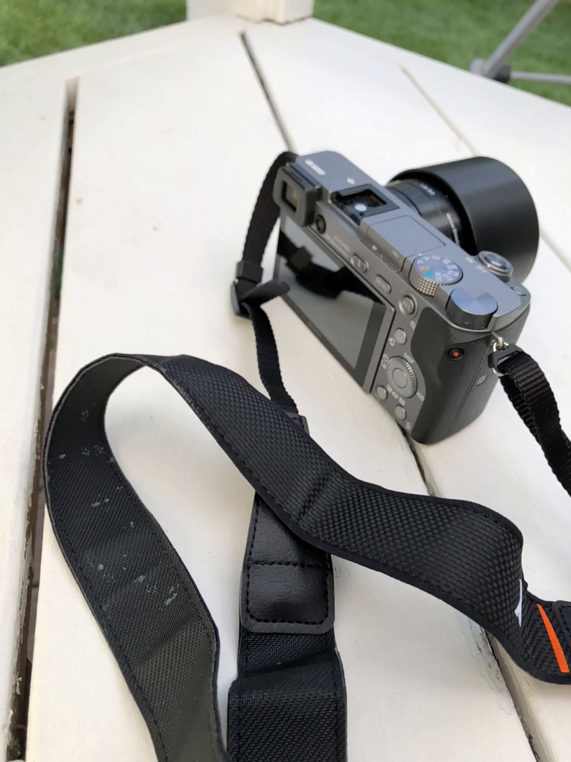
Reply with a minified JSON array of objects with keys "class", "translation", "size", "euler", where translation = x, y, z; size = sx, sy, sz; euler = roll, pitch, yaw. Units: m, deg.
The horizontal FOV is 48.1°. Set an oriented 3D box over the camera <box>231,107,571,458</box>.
[{"class":"camera","translation":[0.060,-0.056,0.285],"size":[0.110,0.070,0.140],"euler":[-19,49,-28]}]
